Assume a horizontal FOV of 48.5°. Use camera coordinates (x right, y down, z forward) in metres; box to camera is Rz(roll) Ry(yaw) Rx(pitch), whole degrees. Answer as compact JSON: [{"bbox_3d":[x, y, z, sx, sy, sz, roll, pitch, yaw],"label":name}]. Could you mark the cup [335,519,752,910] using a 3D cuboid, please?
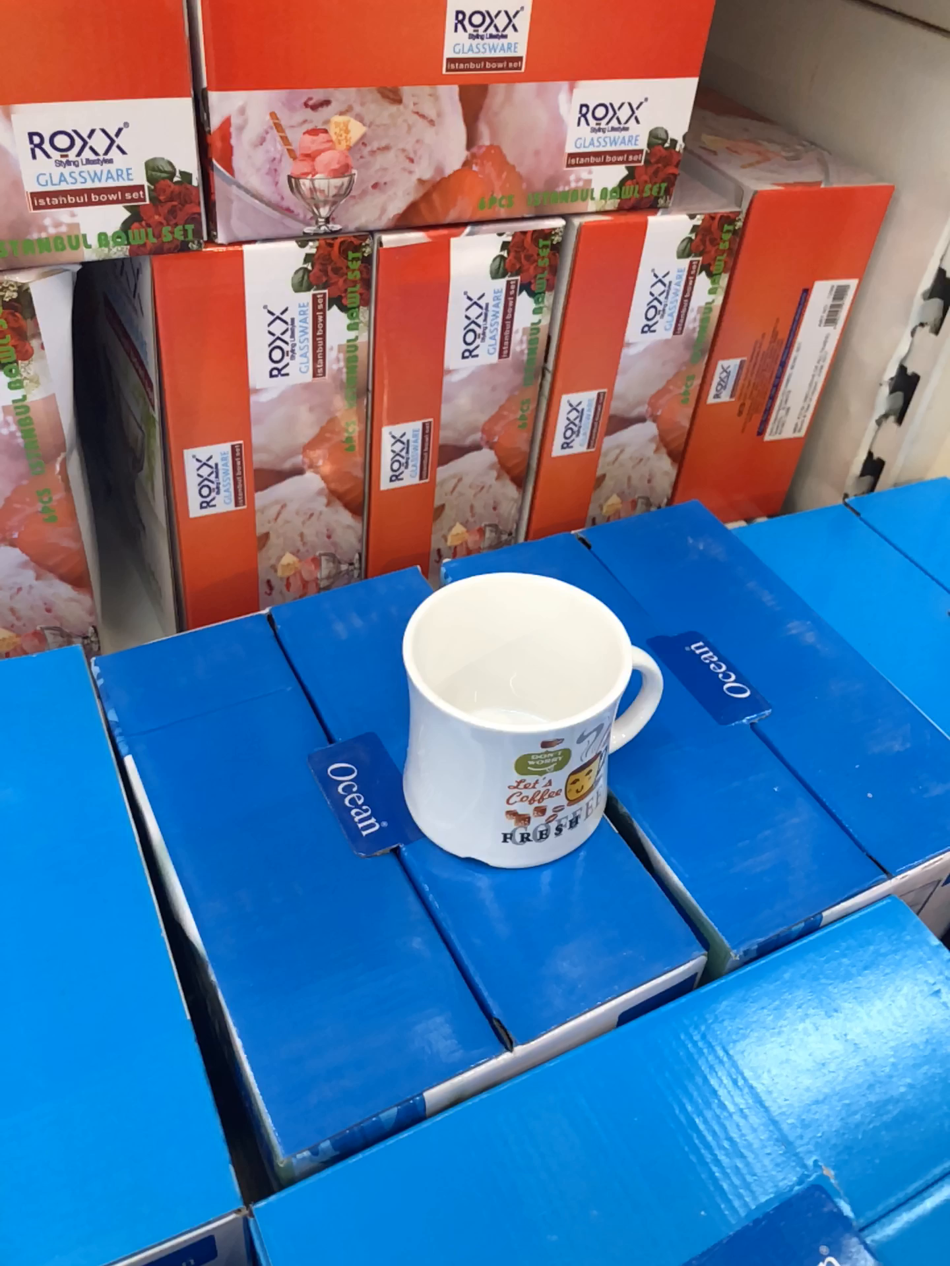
[{"bbox_3d":[0.017,0.022,0.330,0.100,0.069,0.070,-15,46,-24],"label":"cup"}]
